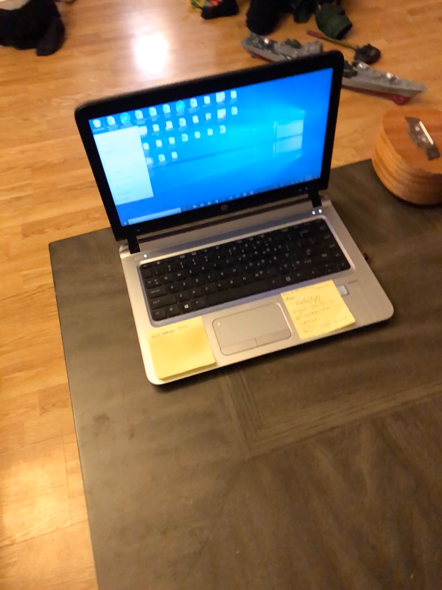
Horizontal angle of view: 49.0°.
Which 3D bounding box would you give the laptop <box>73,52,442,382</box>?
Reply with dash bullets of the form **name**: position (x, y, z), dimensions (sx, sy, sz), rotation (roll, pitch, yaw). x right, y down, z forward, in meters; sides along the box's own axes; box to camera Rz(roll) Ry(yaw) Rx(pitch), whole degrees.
- **laptop**: position (0.026, -0.095, 0.590), dimensions (0.317, 0.217, 0.247), rotation (-15, 56, -8)
